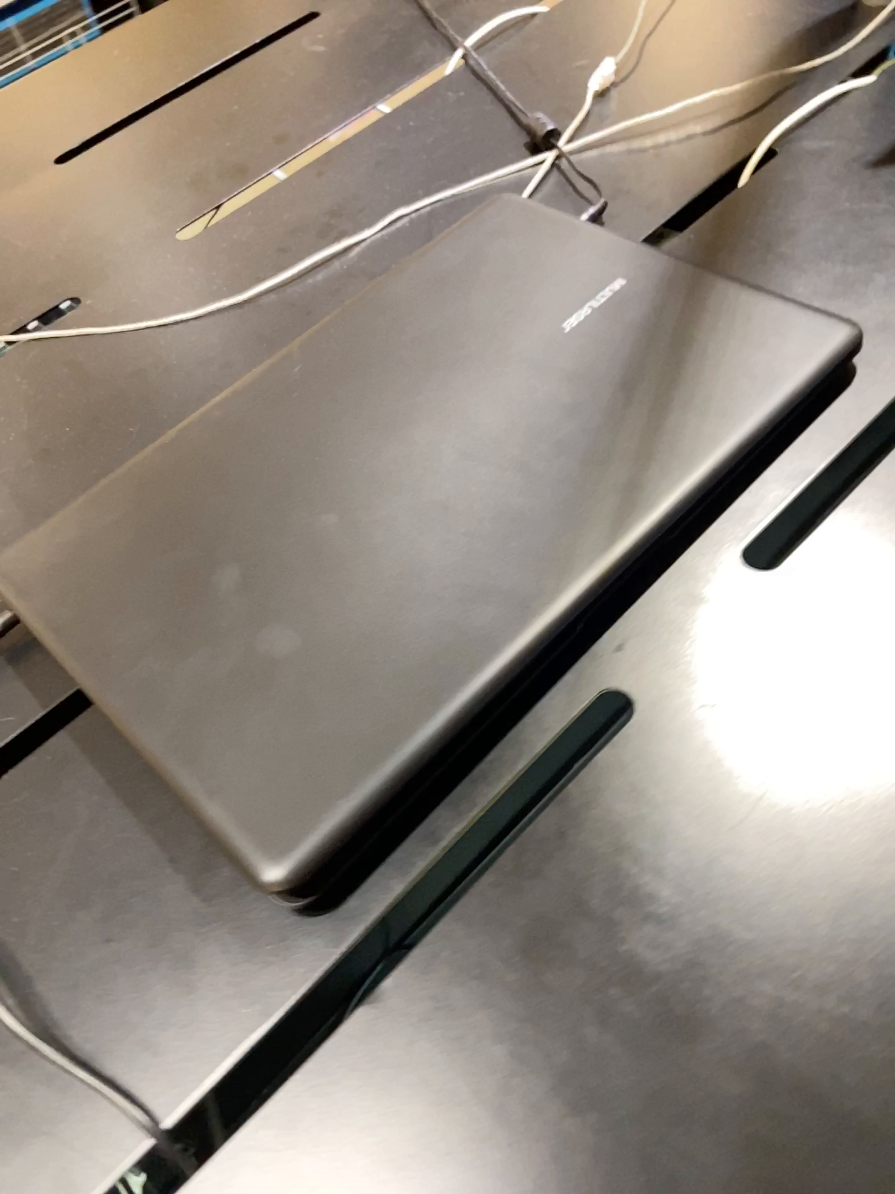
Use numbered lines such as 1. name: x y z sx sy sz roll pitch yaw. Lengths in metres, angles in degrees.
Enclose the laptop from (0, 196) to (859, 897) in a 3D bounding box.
1. laptop: -0.013 -0.064 0.389 0.211 0.001 0.324 35 66 32
